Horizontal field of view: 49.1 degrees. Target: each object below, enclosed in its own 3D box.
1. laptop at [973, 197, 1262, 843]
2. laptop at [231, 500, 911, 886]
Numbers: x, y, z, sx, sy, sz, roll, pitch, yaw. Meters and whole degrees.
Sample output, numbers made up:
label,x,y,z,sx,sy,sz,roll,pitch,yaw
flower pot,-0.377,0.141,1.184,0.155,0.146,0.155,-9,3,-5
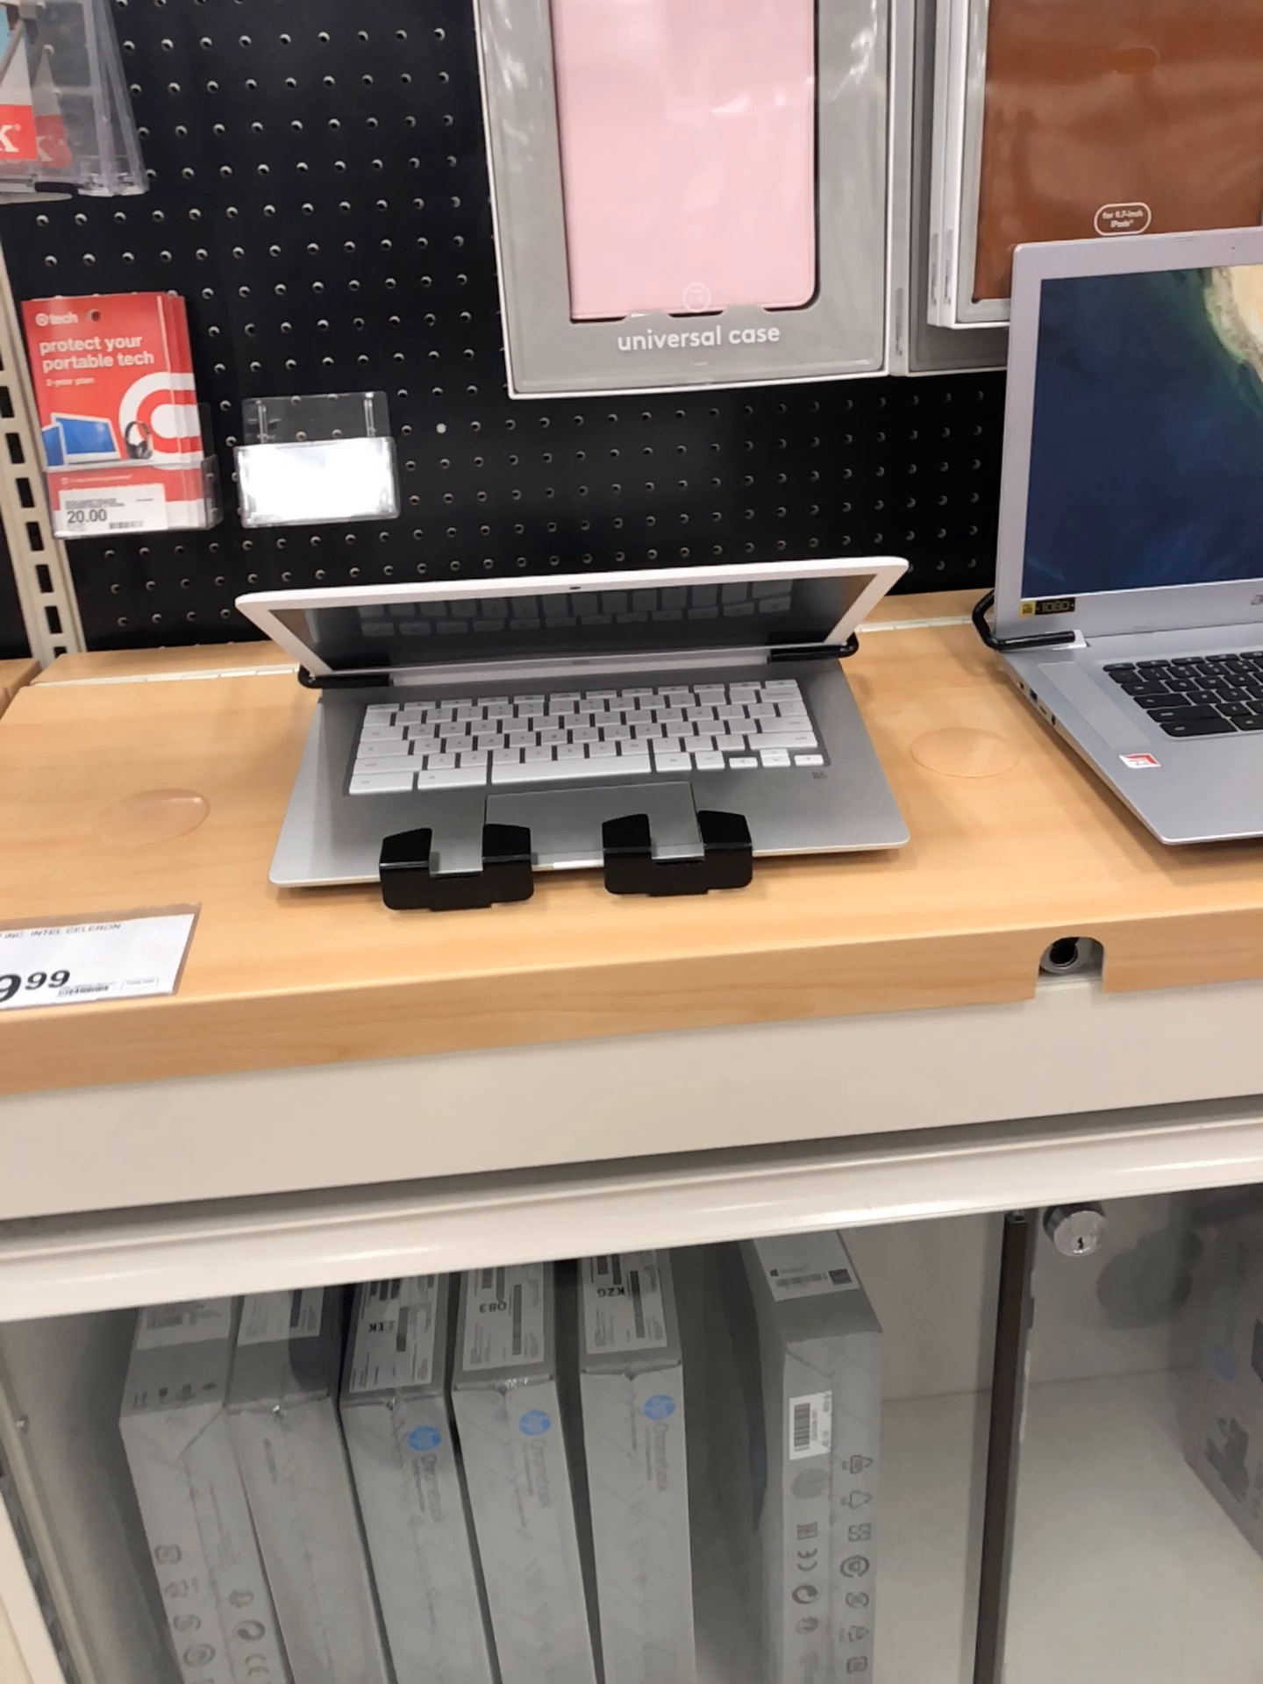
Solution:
label,x,y,z,sx,sy,sz,roll,pitch,yaw
laptop,0.434,-0.199,0.771,0.388,0.244,0.274,-6,28,-5
laptop,-0.032,-0.094,0.779,0.330,0.100,0.216,-4,32,-2
